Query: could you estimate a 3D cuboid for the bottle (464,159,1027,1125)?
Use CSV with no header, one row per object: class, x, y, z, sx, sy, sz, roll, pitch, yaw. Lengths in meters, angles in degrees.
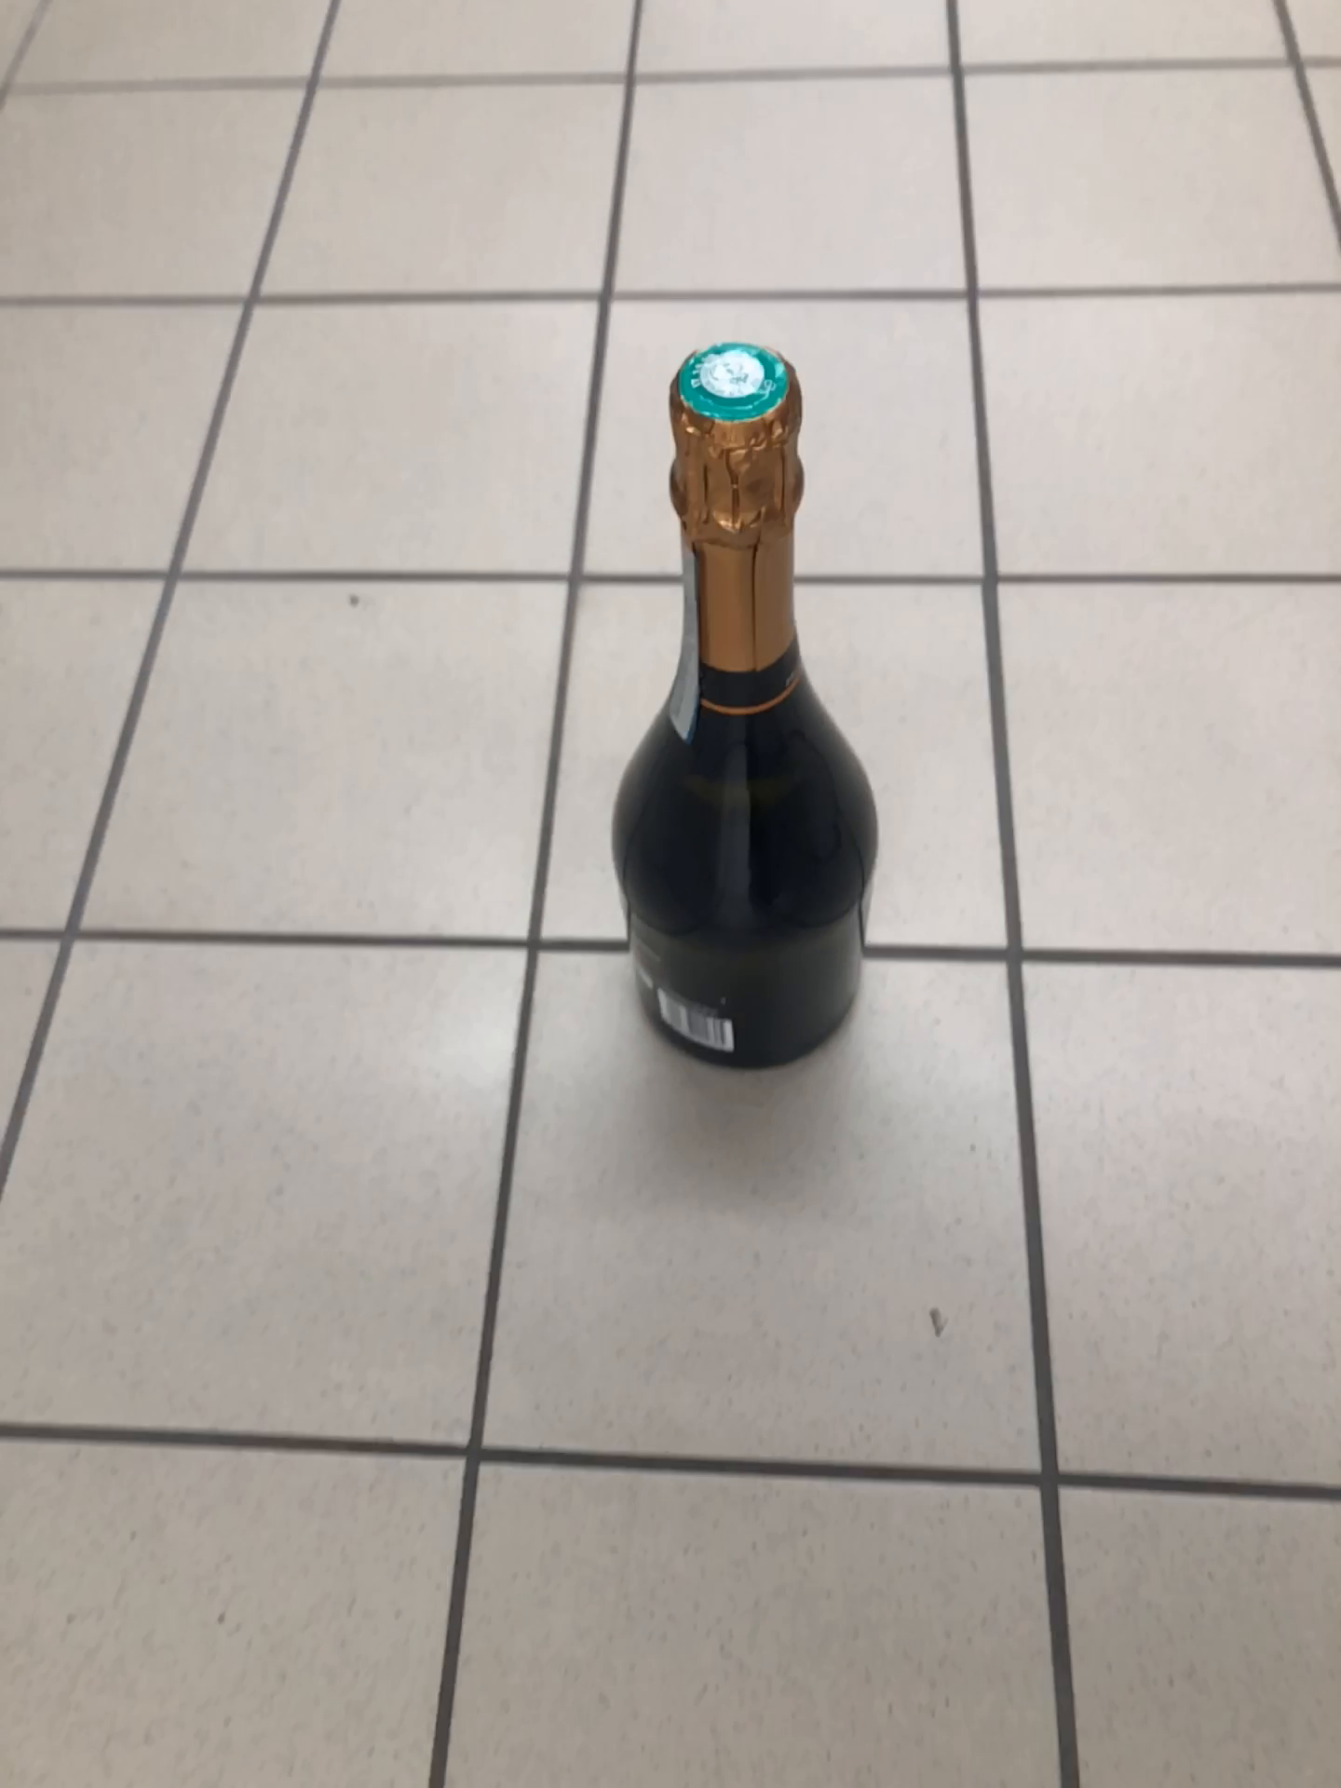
bottle,0.024,-0.047,0.477,0.090,0.318,0.100,-28,62,-12
